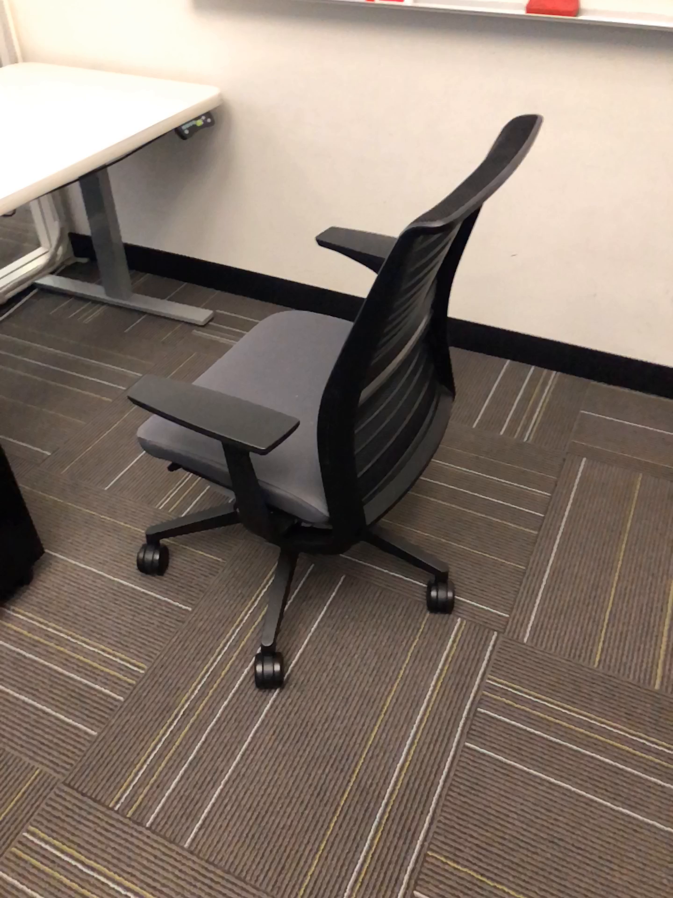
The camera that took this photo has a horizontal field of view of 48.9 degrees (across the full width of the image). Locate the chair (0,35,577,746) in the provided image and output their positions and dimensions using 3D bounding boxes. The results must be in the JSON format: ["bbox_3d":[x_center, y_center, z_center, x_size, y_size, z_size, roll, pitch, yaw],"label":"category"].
[{"bbox_3d":[-0.065,-0.140,1.336,0.681,0.905,0.723,15,42,19],"label":"chair"}]
